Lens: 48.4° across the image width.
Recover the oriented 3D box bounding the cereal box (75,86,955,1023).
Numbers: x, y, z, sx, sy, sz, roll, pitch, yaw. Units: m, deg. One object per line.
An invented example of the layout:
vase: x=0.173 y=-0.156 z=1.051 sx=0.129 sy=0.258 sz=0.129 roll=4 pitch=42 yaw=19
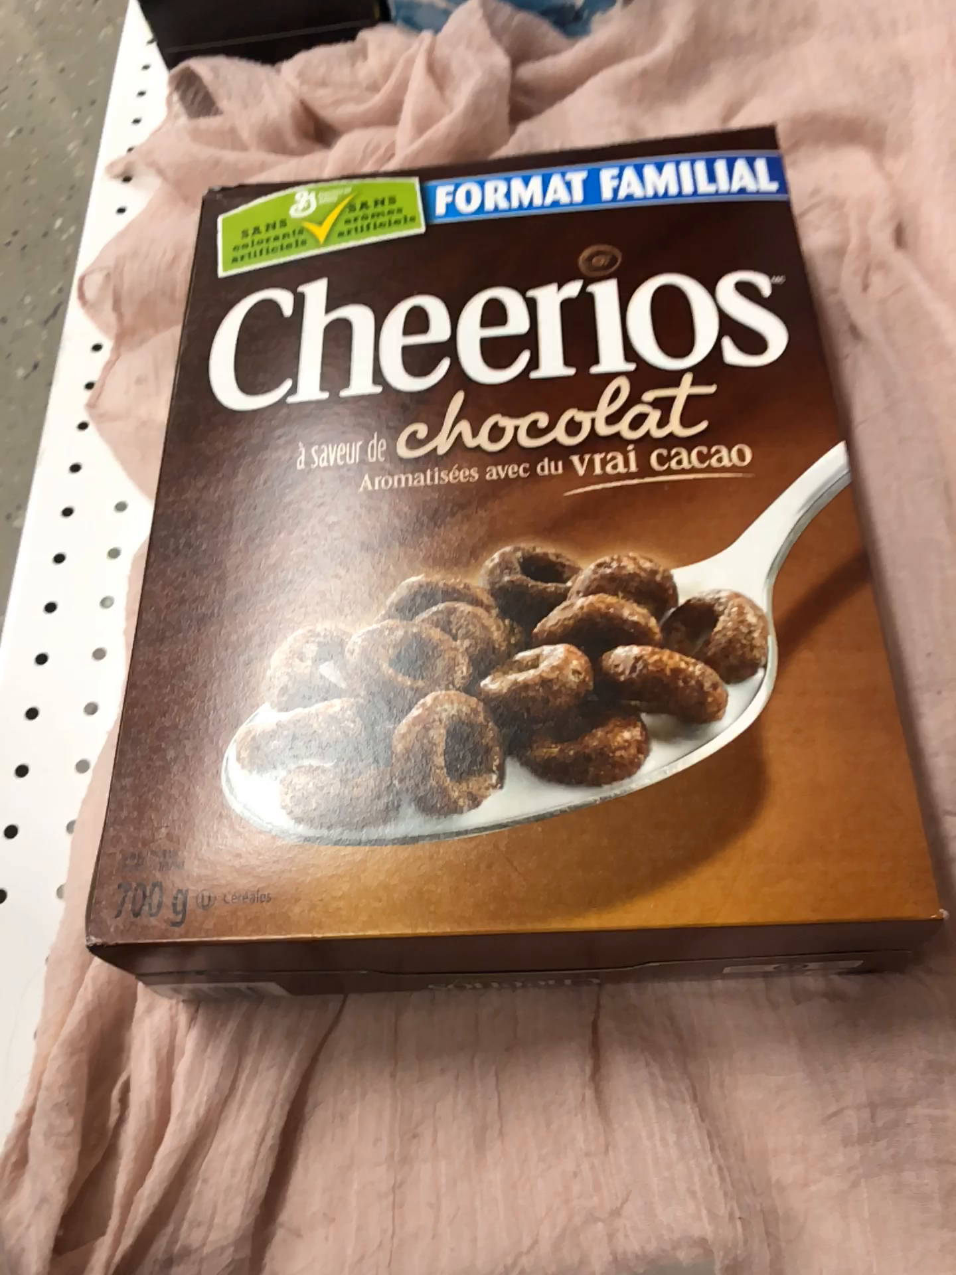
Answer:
cereal box: x=0.013 y=-0.043 z=0.388 sx=0.230 sy=0.090 sz=0.330 roll=-4 pitch=60 yaw=6
